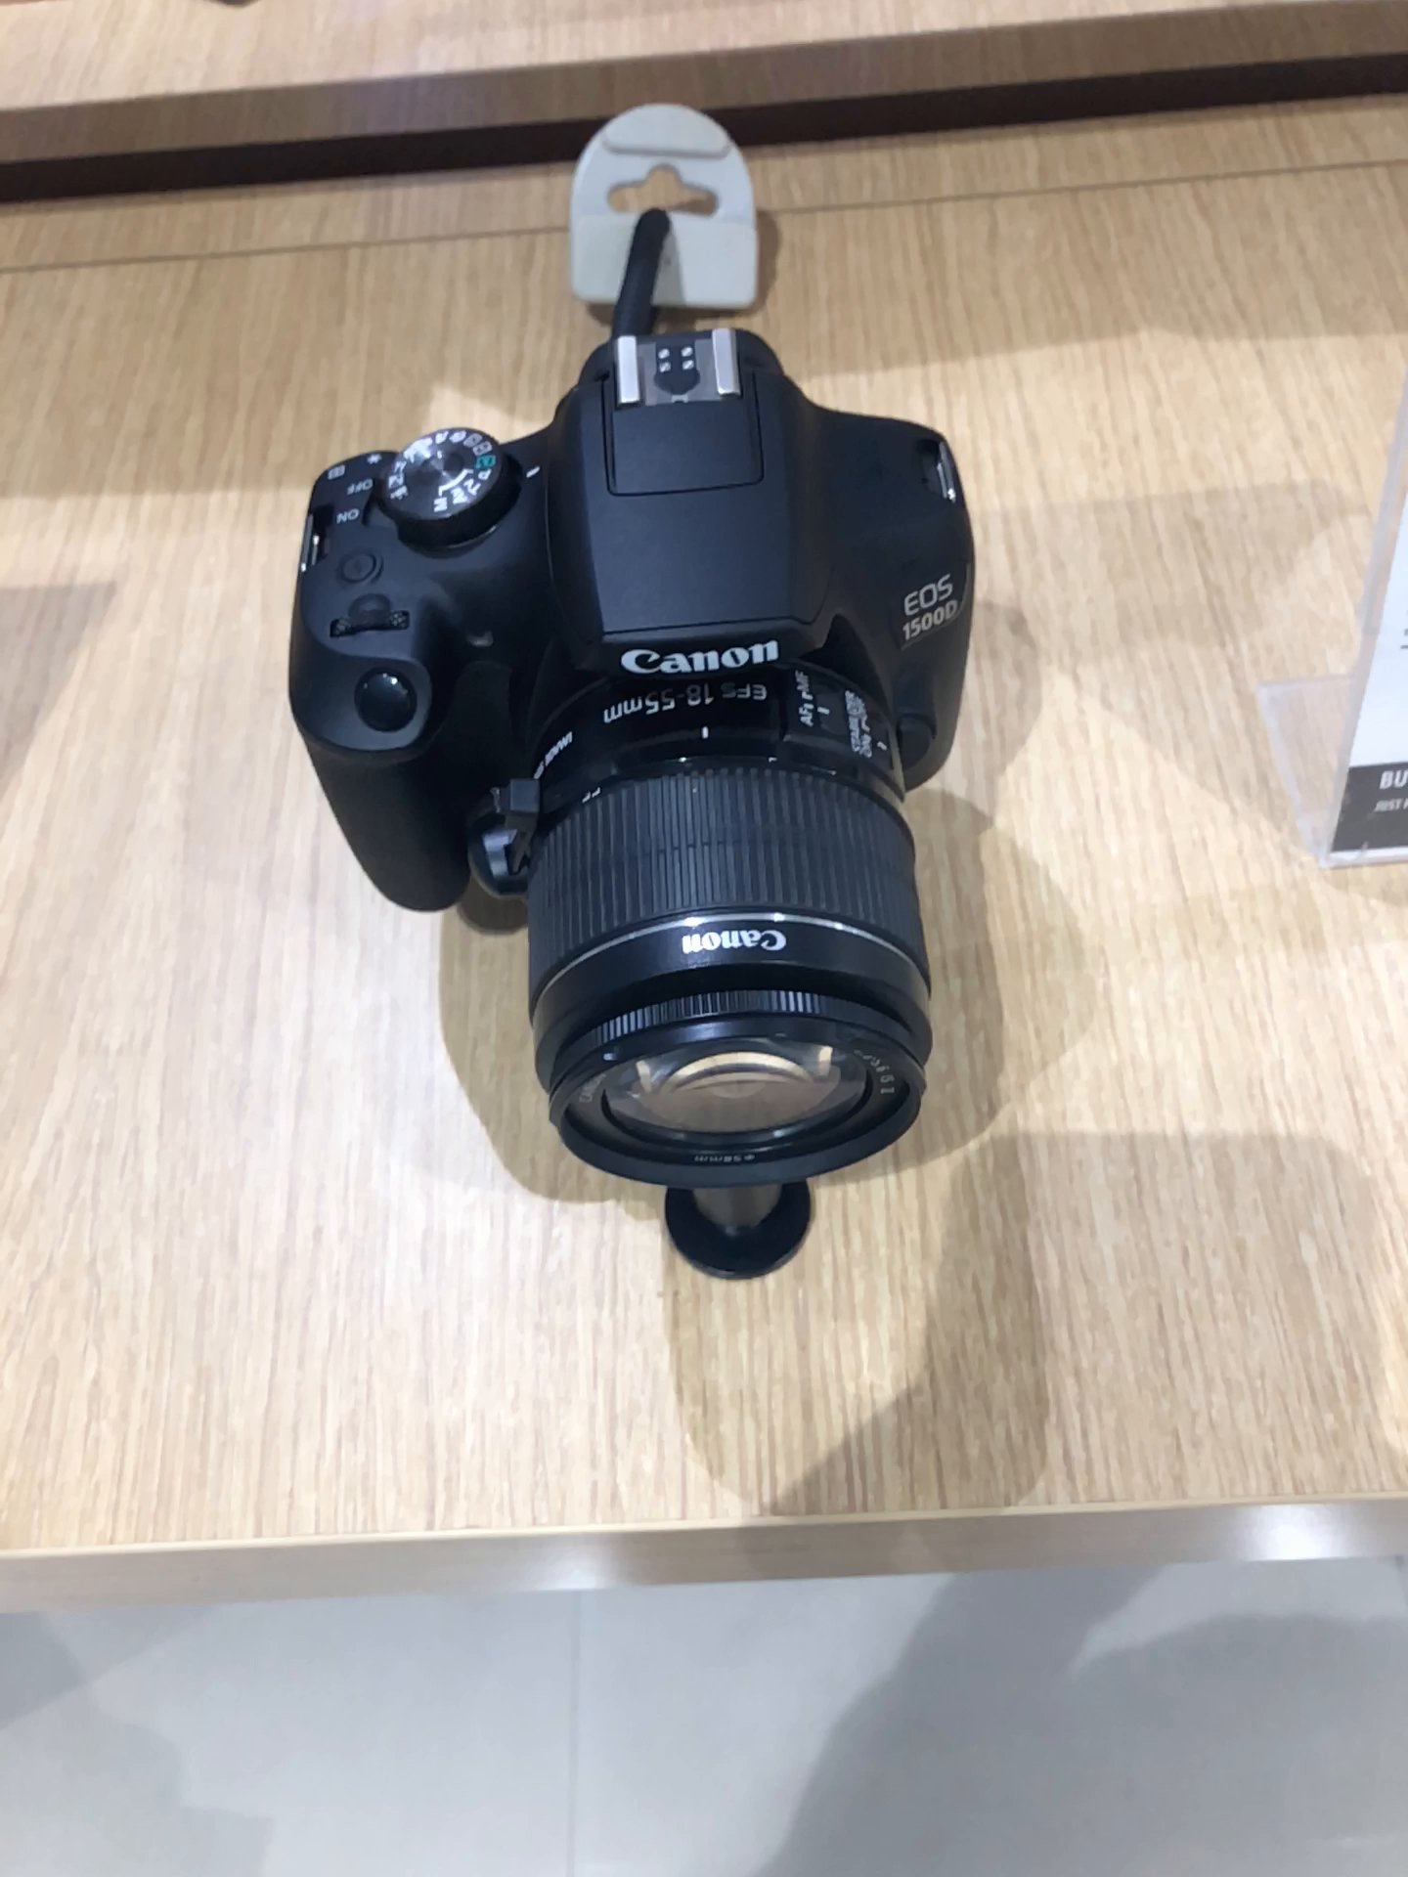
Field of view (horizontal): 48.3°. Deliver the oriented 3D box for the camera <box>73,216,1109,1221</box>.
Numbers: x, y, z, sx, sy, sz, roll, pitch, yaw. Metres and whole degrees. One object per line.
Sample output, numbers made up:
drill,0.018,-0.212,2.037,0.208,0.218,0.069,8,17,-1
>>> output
camera,-0.013,-0.037,0.271,0.130,0.090,0.141,-3,57,3
